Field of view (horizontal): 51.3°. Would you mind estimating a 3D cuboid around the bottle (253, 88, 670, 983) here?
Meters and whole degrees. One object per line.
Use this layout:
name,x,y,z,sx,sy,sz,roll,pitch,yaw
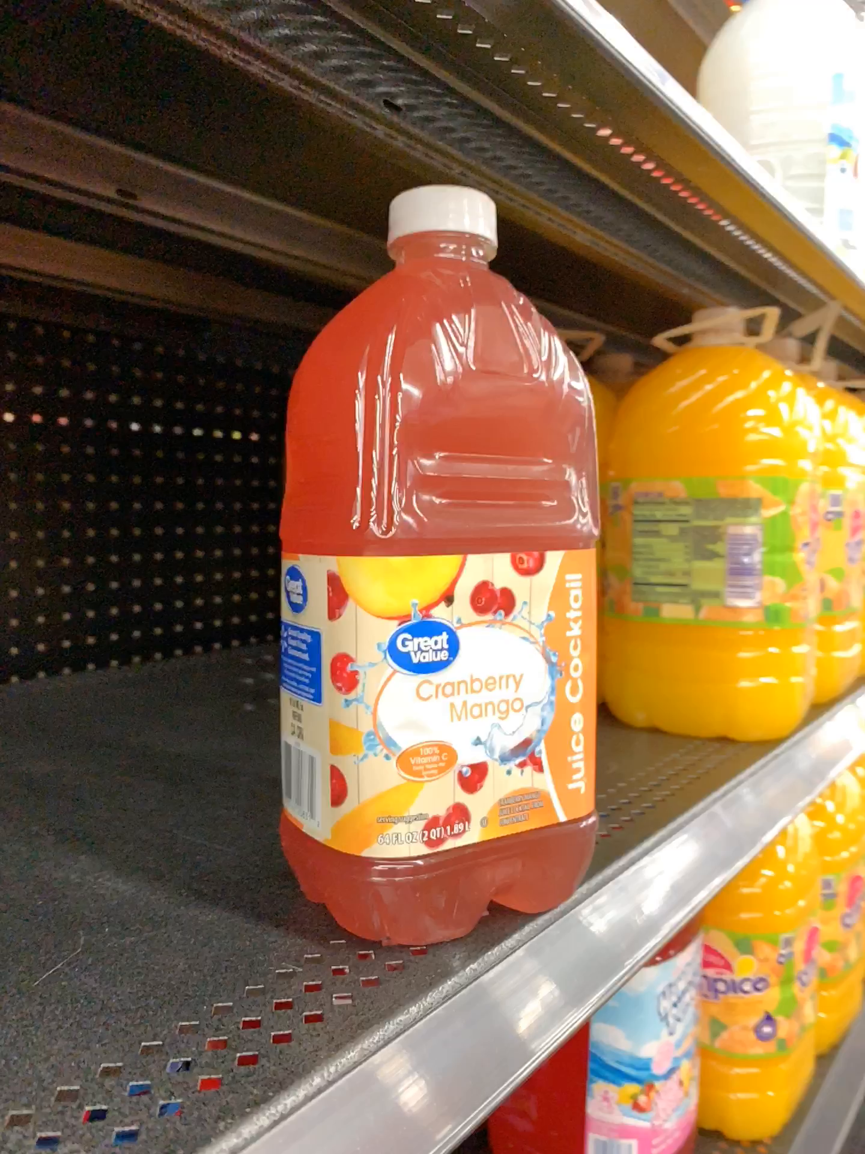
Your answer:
bottle,0.006,-0.014,0.348,0.119,0.272,0.101,-2,6,-31
